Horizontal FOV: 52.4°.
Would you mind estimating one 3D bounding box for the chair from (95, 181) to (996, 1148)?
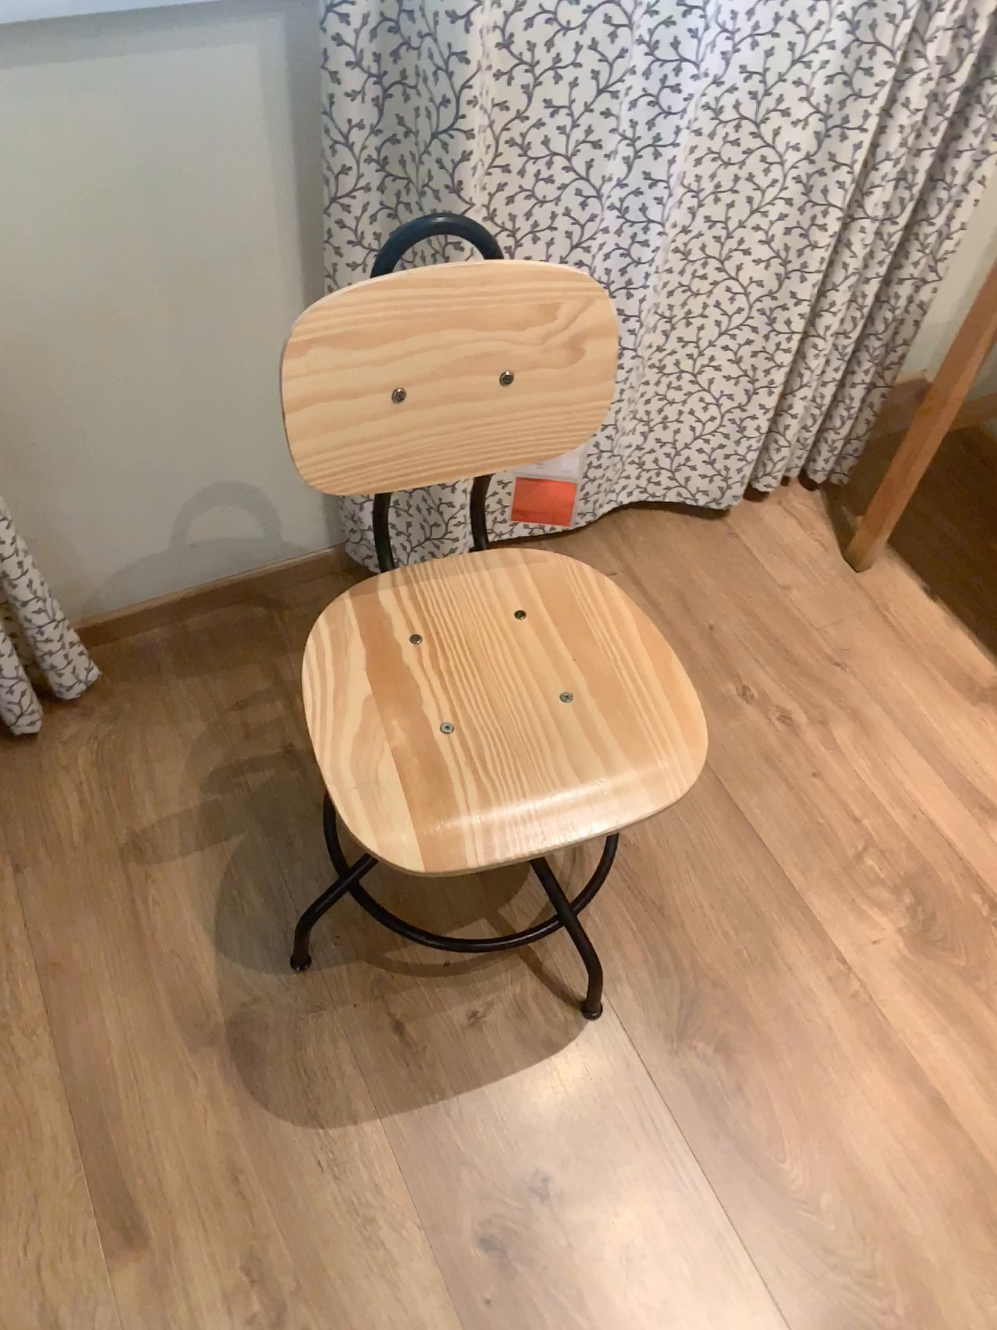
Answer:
[{"bbox_3d":[-0.010,0.007,1.035,0.560,0.648,0.621,-13,55,-15],"label":"chair"}]
